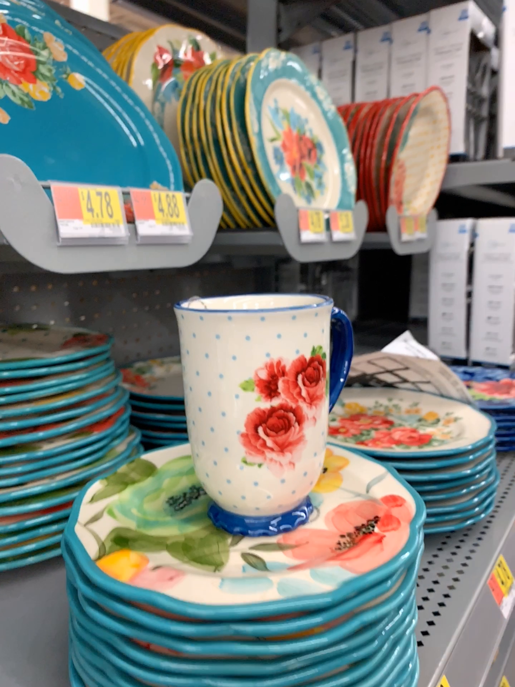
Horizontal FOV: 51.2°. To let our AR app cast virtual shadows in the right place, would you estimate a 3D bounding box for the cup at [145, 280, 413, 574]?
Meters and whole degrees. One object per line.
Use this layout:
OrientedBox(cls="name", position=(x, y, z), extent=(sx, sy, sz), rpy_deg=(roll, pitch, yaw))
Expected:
OrientedBox(cls="cup", position=(0.016, 0.033, 0.324), extent=(0.130, 0.130, 0.090), rpy_deg=(-10, 14, -42))
